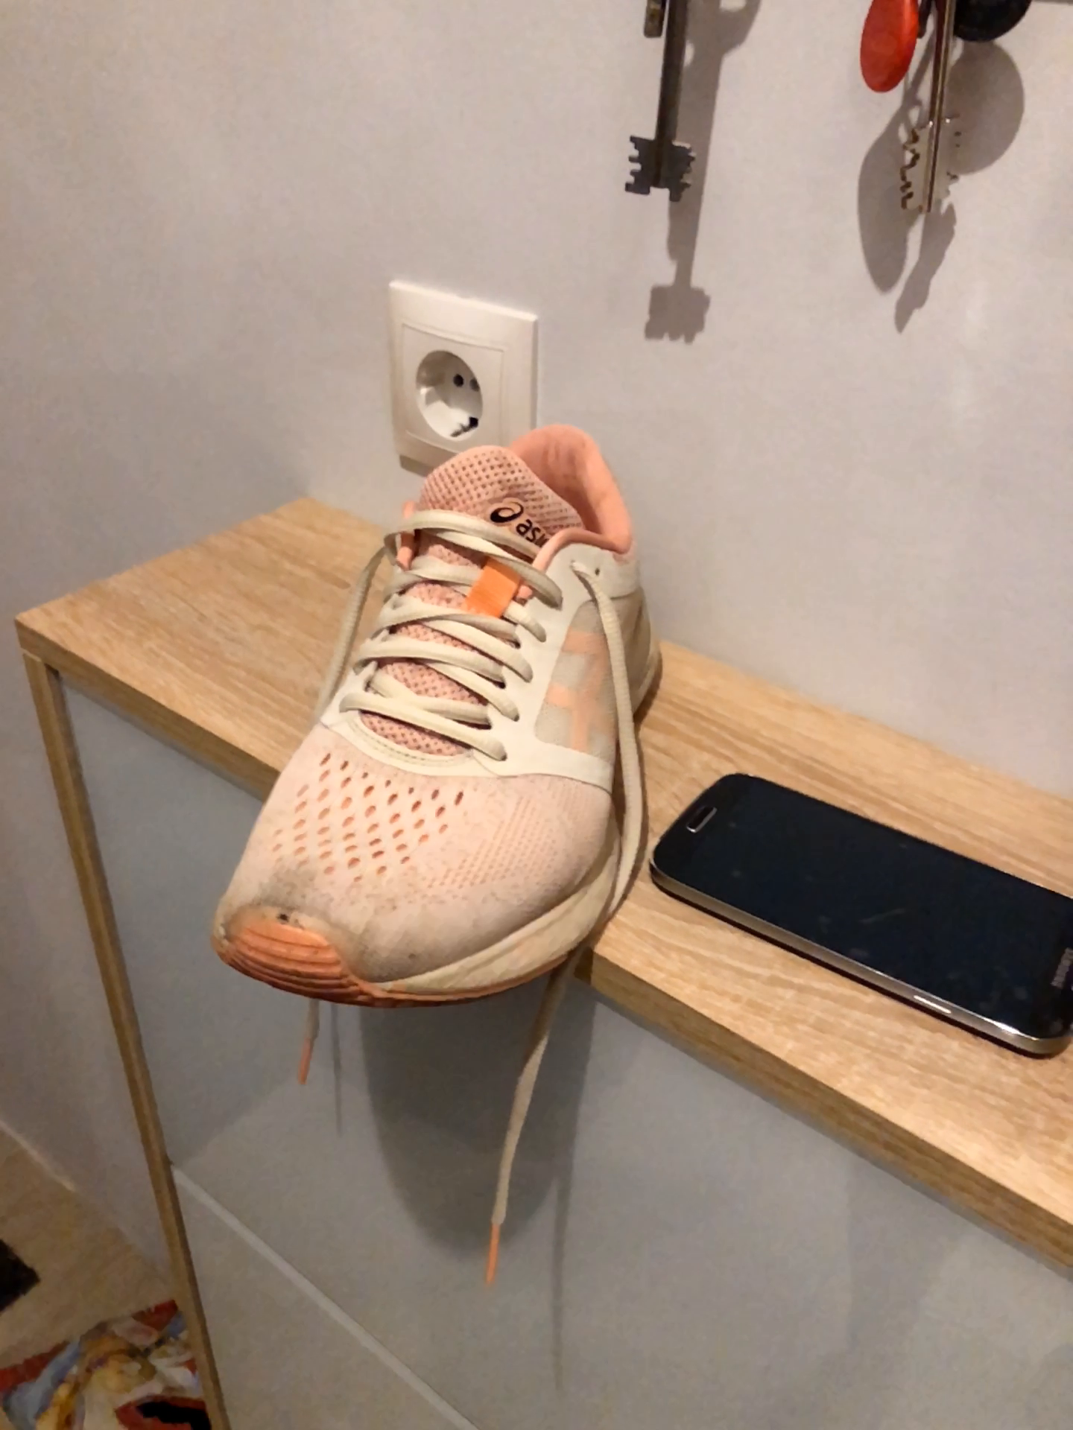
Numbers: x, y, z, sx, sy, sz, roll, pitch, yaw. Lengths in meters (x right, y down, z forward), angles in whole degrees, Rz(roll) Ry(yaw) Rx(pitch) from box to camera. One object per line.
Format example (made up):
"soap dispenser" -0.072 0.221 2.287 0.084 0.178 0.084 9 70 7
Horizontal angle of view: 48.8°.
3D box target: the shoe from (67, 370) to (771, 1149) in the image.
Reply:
"shoe" -0.010 -0.016 0.388 0.110 0.103 0.270 13 35 16
